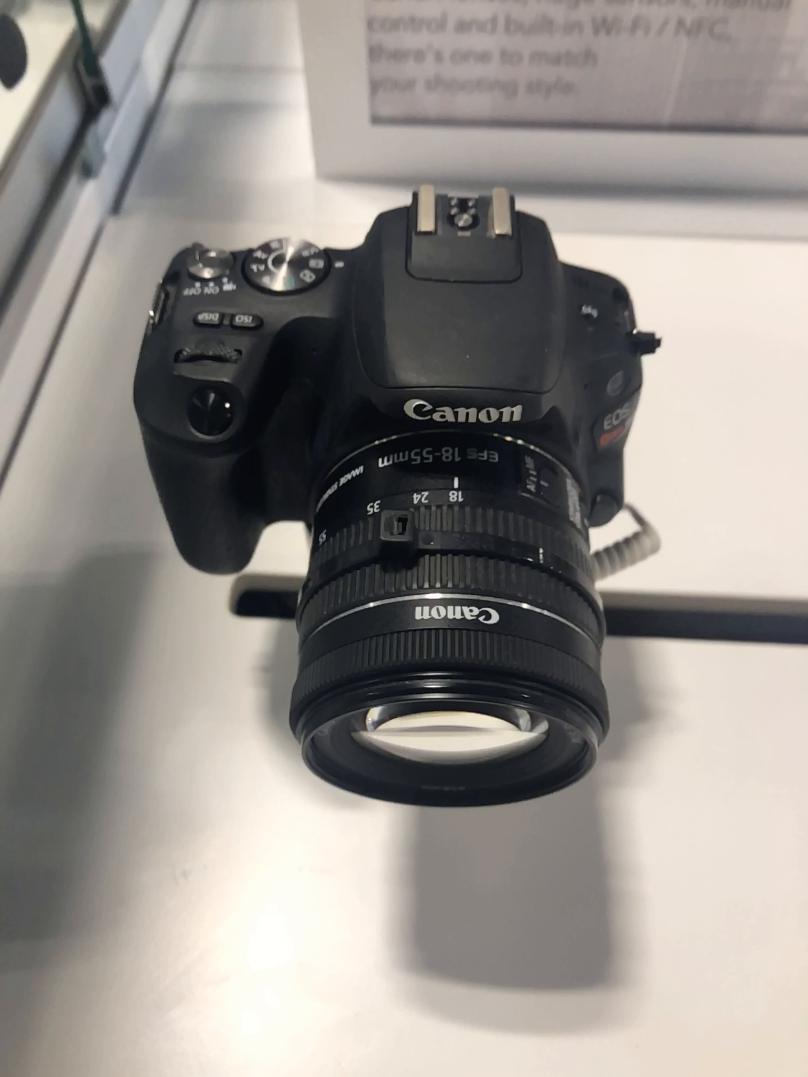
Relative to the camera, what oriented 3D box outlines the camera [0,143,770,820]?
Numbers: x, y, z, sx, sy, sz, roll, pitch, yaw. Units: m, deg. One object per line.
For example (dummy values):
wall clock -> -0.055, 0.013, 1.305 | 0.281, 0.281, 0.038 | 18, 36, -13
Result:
camera -> -0.006, -0.010, 0.203 | 0.122, 0.099, 0.111 | 2, 55, 2
